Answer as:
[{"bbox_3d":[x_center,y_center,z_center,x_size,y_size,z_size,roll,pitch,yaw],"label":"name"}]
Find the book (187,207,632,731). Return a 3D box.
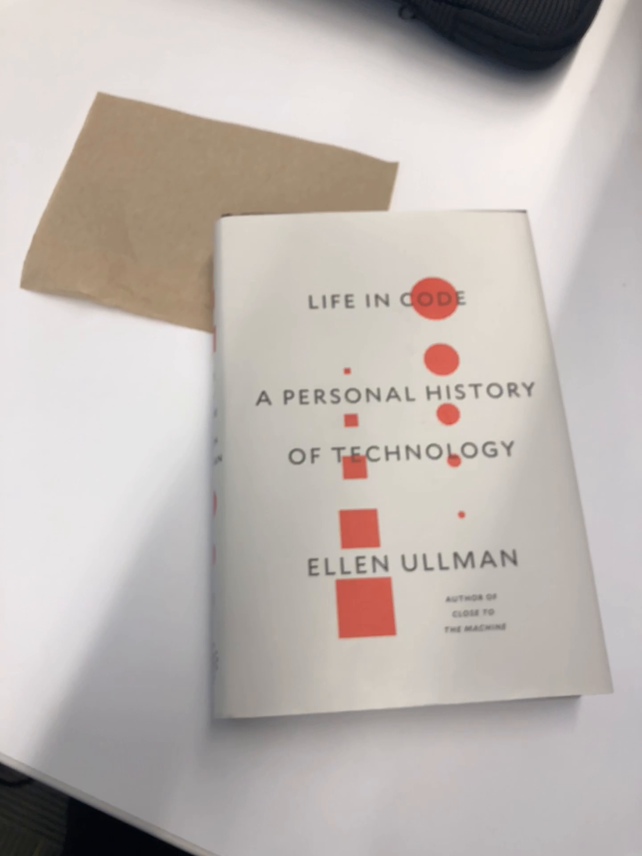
[{"bbox_3d":[0.028,0.006,0.311,0.160,0.030,0.220,-1,69,-4],"label":"book"}]
